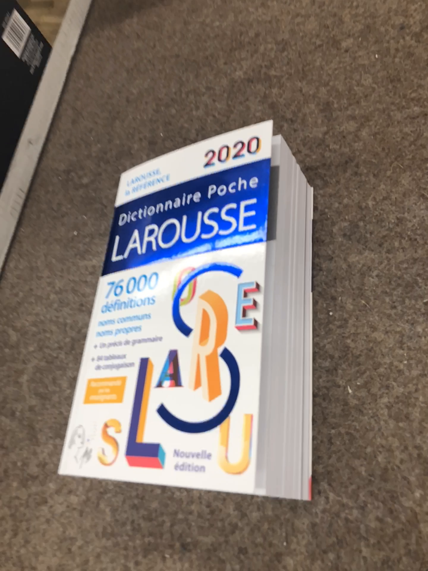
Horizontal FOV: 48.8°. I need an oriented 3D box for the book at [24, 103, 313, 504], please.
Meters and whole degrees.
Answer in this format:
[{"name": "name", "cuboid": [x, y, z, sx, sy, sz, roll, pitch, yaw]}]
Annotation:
[{"name": "book", "cuboid": [-0.013, 0.009, 0.251, 0.117, 0.060, 0.184, -7, 63, 25]}]
